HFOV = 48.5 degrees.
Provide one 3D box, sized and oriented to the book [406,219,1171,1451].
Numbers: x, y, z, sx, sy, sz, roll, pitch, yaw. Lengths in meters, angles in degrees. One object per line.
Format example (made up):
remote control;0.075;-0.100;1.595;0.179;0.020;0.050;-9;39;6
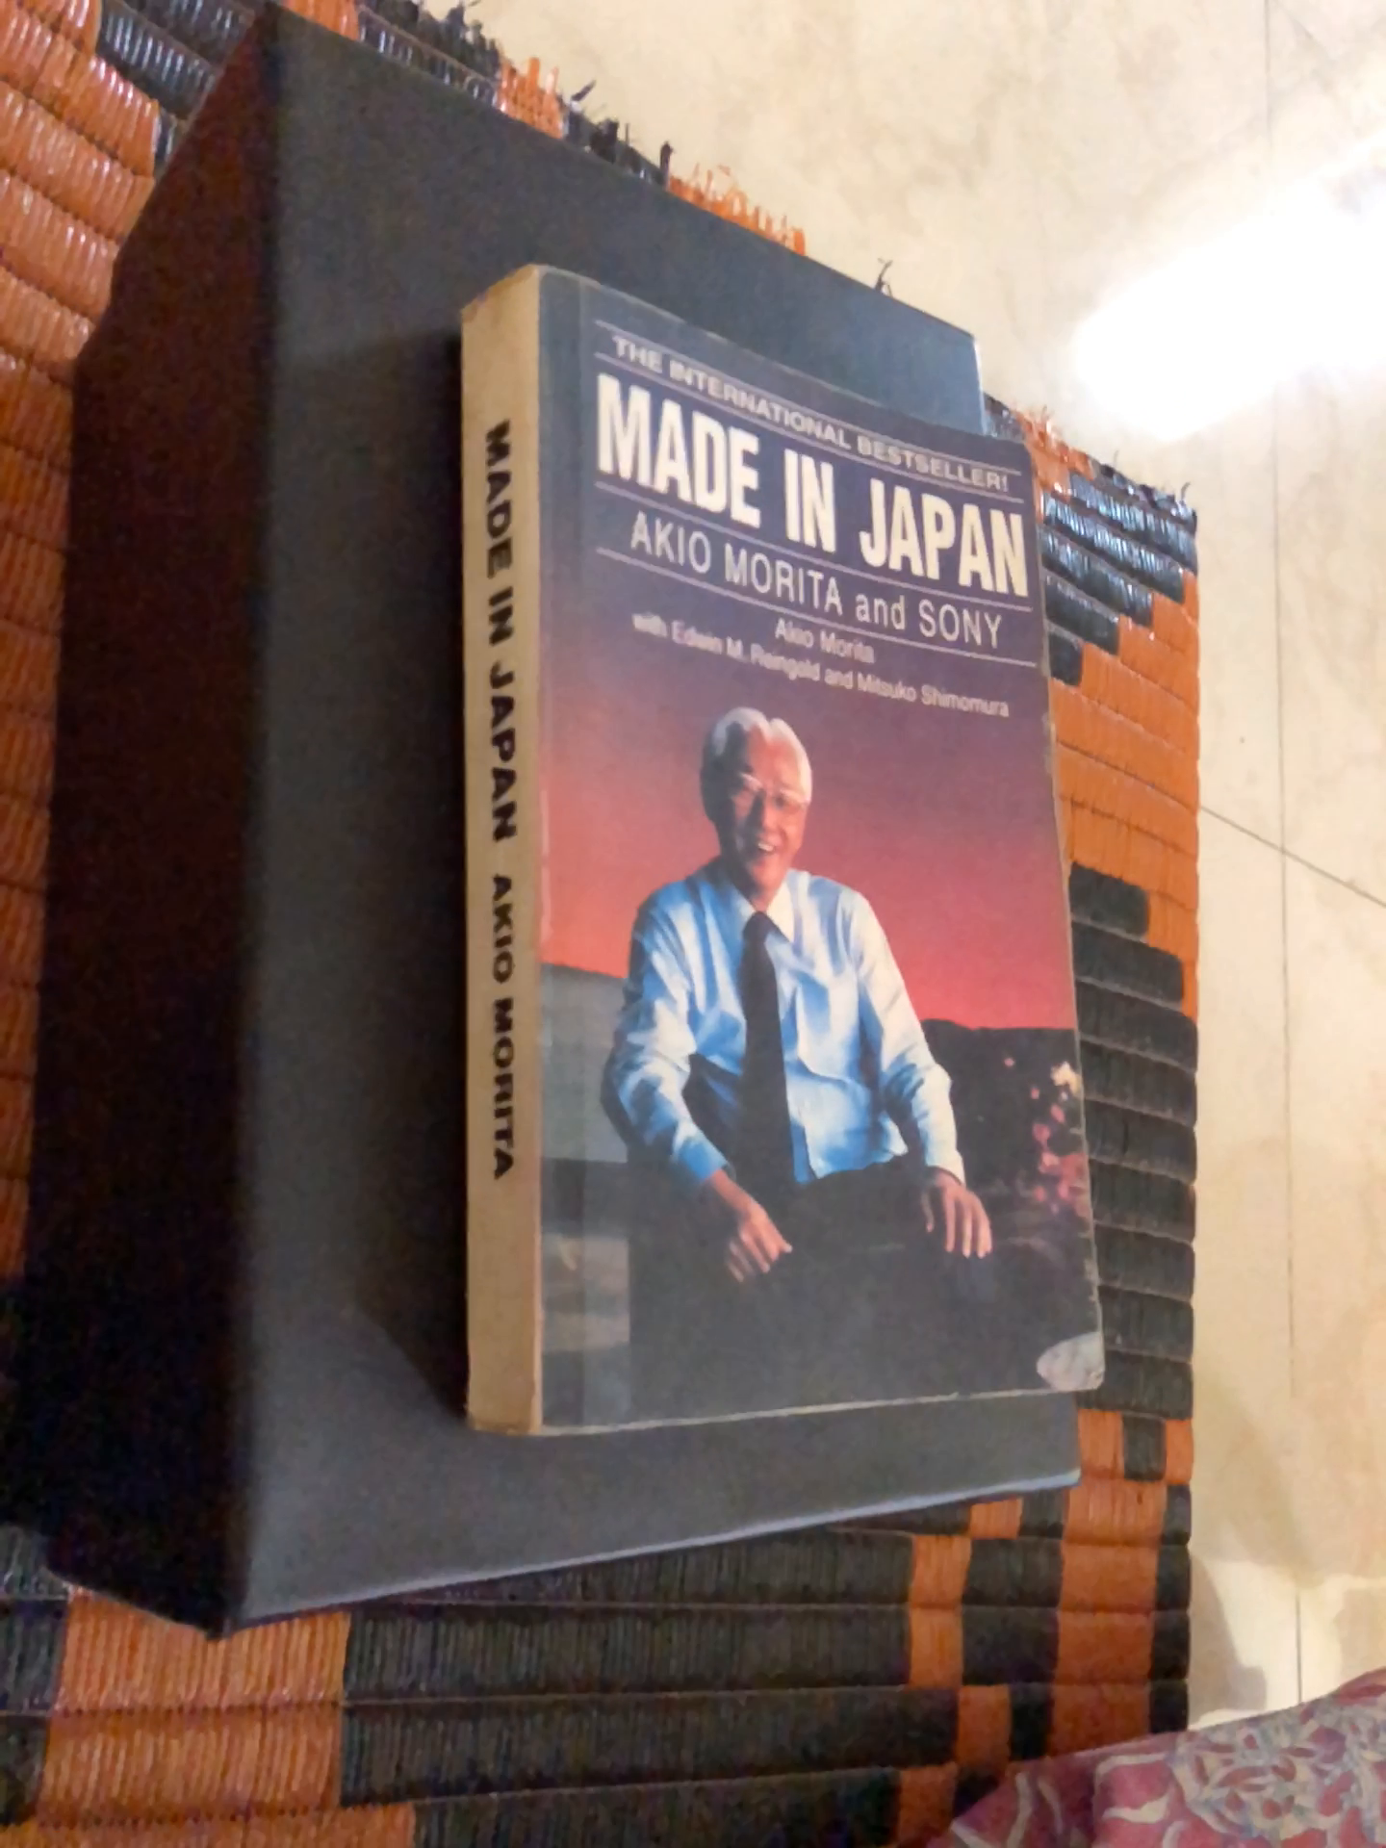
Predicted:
book;0.017;-0.010;0.248;0.121;0.030;0.170;7;74;-33
